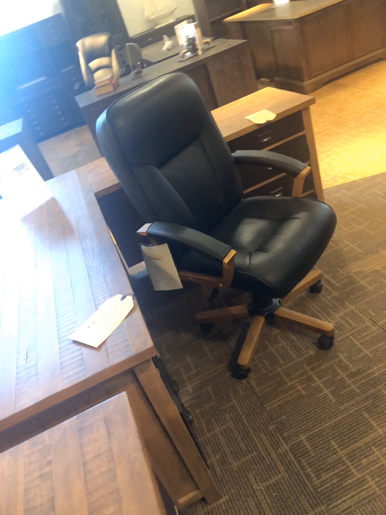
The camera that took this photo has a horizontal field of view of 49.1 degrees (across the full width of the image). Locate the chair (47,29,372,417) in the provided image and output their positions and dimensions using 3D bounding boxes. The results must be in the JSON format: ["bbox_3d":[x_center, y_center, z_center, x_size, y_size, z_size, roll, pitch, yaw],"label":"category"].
[{"bbox_3d":[0.158,-0.139,1.696,0.744,1.105,0.740,13,45,42],"label":"chair"}]
